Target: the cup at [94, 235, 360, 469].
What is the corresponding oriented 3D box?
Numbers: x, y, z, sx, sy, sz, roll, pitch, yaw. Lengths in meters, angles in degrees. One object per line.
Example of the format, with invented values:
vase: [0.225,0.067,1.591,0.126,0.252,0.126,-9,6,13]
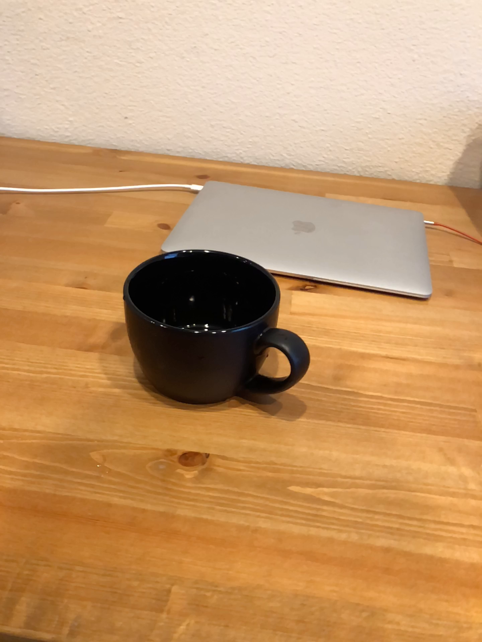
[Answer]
cup: [-0.012,0.013,0.425,0.160,0.080,0.120,25,40,27]
